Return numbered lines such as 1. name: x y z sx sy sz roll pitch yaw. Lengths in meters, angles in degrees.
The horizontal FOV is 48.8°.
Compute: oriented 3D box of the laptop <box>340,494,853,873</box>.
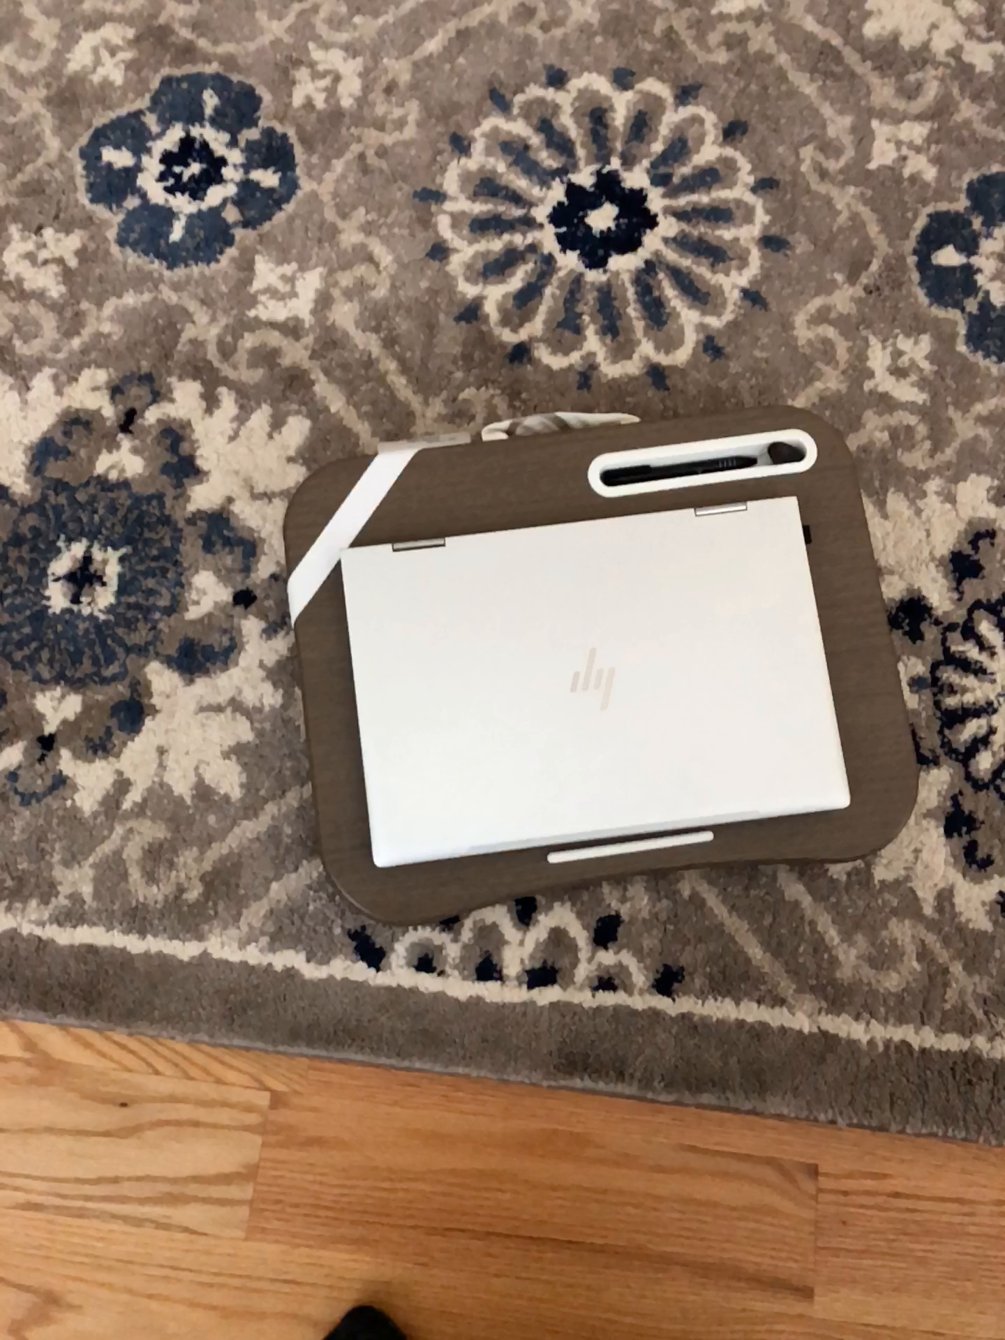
1. laptop: 0.066 0.007 0.838 0.354 0.026 0.241 -7 79 -2
